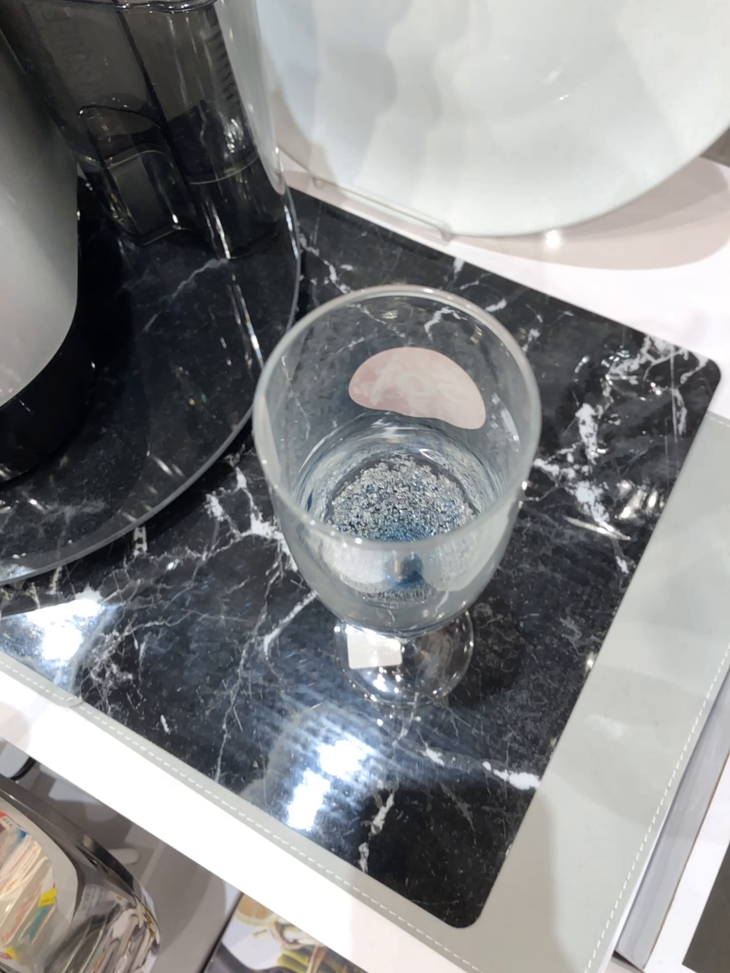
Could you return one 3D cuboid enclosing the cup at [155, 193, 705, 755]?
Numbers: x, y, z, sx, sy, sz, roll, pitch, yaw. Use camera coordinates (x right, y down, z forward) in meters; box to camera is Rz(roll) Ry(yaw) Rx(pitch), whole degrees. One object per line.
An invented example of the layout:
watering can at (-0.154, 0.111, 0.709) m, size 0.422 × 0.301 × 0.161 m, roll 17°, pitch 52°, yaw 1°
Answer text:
cup at (0.017, 0.030, 0.265) m, size 0.070 × 0.250 × 0.070 m, roll -1°, pitch 70°, yaw 3°
